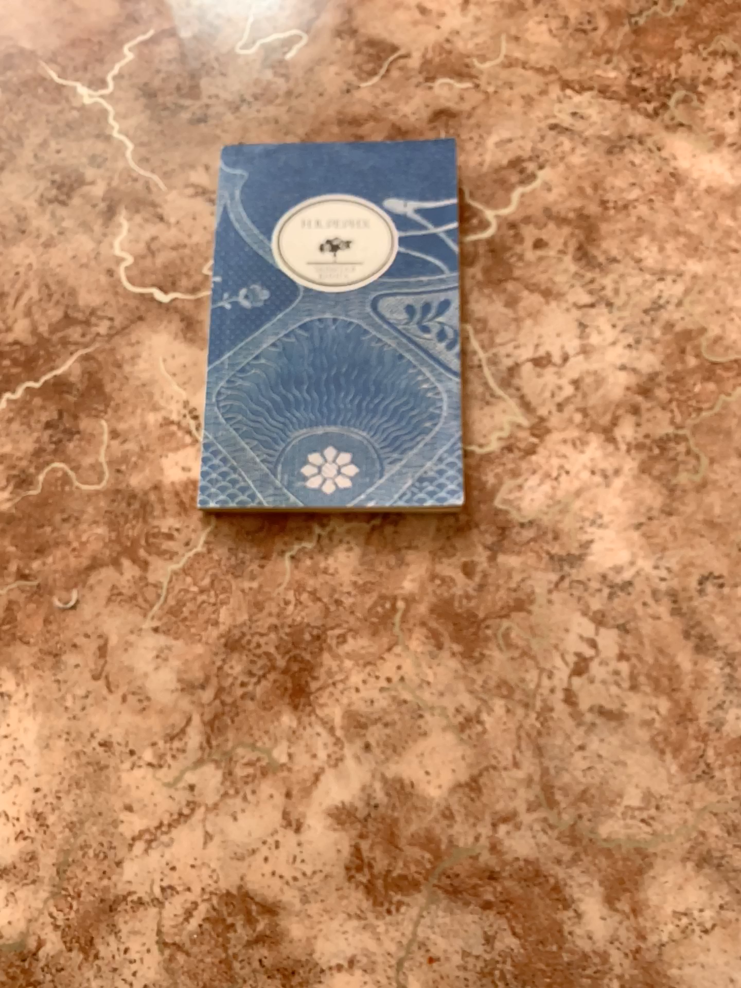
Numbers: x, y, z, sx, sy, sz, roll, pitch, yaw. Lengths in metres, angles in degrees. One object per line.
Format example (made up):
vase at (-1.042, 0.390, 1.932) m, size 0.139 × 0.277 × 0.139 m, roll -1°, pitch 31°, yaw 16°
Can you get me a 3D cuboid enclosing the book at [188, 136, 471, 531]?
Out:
book at (-0.019, -0.083, 0.378) m, size 0.125 × 0.015 × 0.203 m, roll 0°, pitch 75°, yaw 0°
